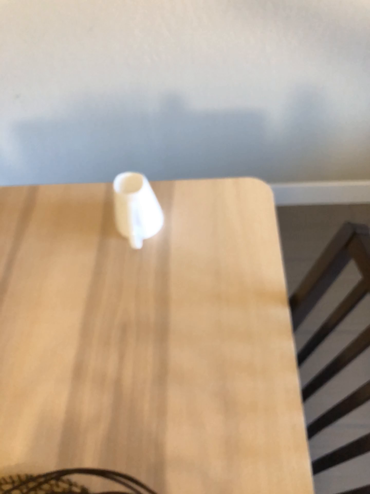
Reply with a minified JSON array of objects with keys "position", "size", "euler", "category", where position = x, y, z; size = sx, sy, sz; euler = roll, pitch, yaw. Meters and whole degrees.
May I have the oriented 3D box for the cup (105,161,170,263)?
[{"position":[-0.090,-0.066,0.805],"size":[0.100,0.120,0.141],"euler":[-7,53,-2],"category":"cup"}]
